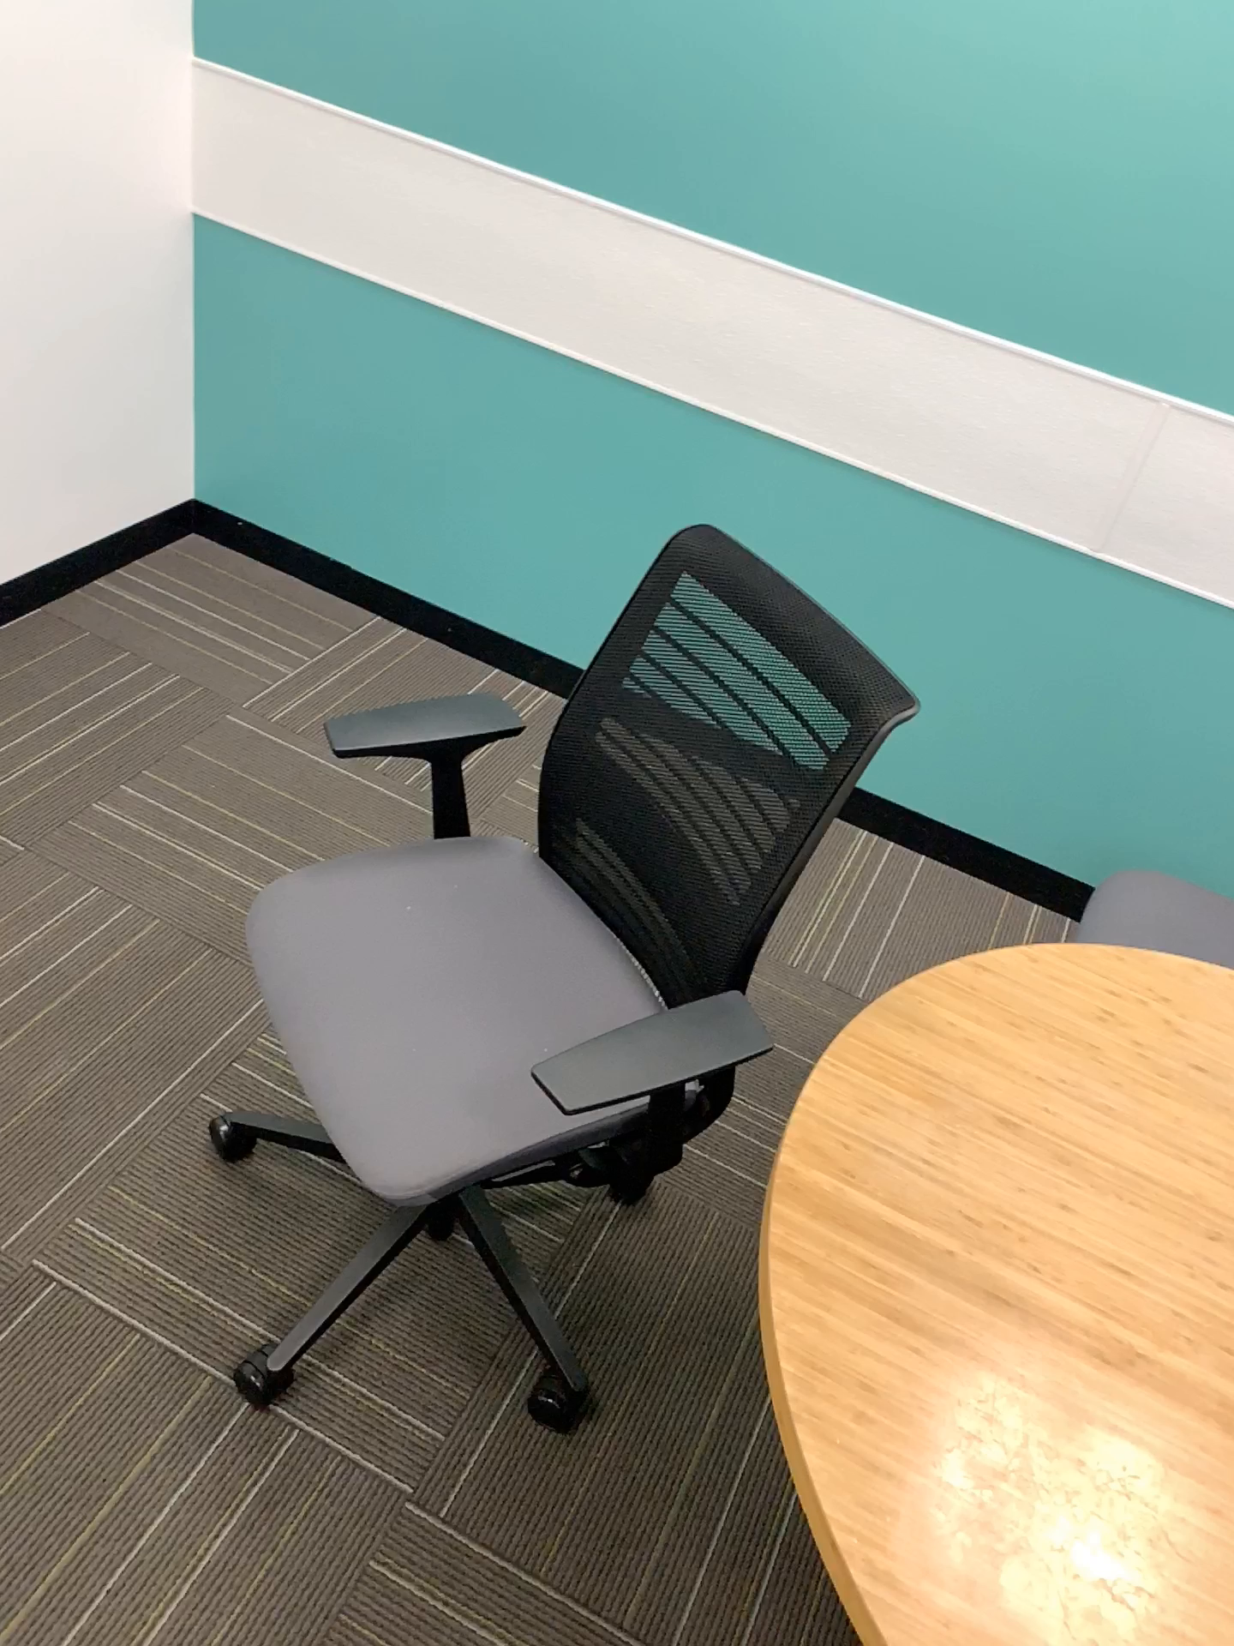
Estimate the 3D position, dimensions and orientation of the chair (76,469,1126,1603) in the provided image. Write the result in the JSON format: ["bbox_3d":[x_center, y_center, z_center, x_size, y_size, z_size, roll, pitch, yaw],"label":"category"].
[{"bbox_3d":[-0.107,0.205,1.598,0.842,0.984,0.733,-16,47,-34],"label":"chair"}]
